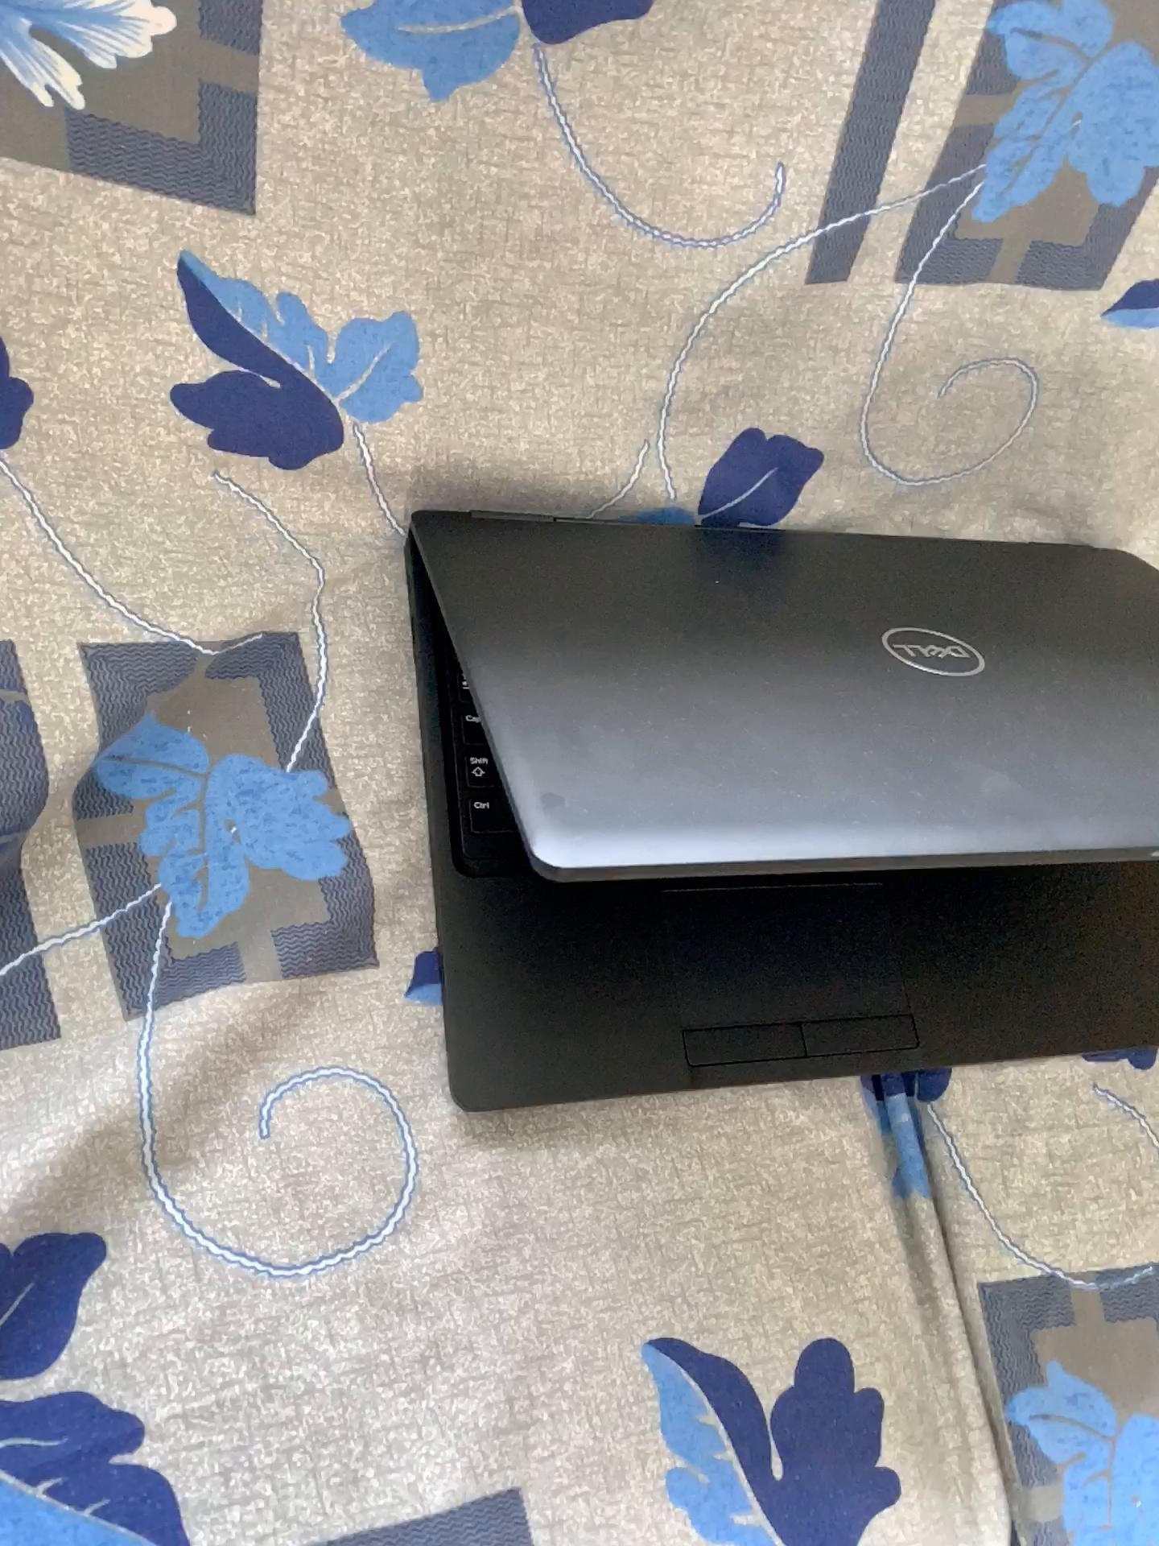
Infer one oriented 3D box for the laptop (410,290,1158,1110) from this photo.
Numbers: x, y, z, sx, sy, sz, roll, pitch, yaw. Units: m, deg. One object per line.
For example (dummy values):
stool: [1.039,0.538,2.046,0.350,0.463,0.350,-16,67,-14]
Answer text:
laptop: [0.140,-0.018,0.448,0.372,0.143,0.238,0,69,-17]
